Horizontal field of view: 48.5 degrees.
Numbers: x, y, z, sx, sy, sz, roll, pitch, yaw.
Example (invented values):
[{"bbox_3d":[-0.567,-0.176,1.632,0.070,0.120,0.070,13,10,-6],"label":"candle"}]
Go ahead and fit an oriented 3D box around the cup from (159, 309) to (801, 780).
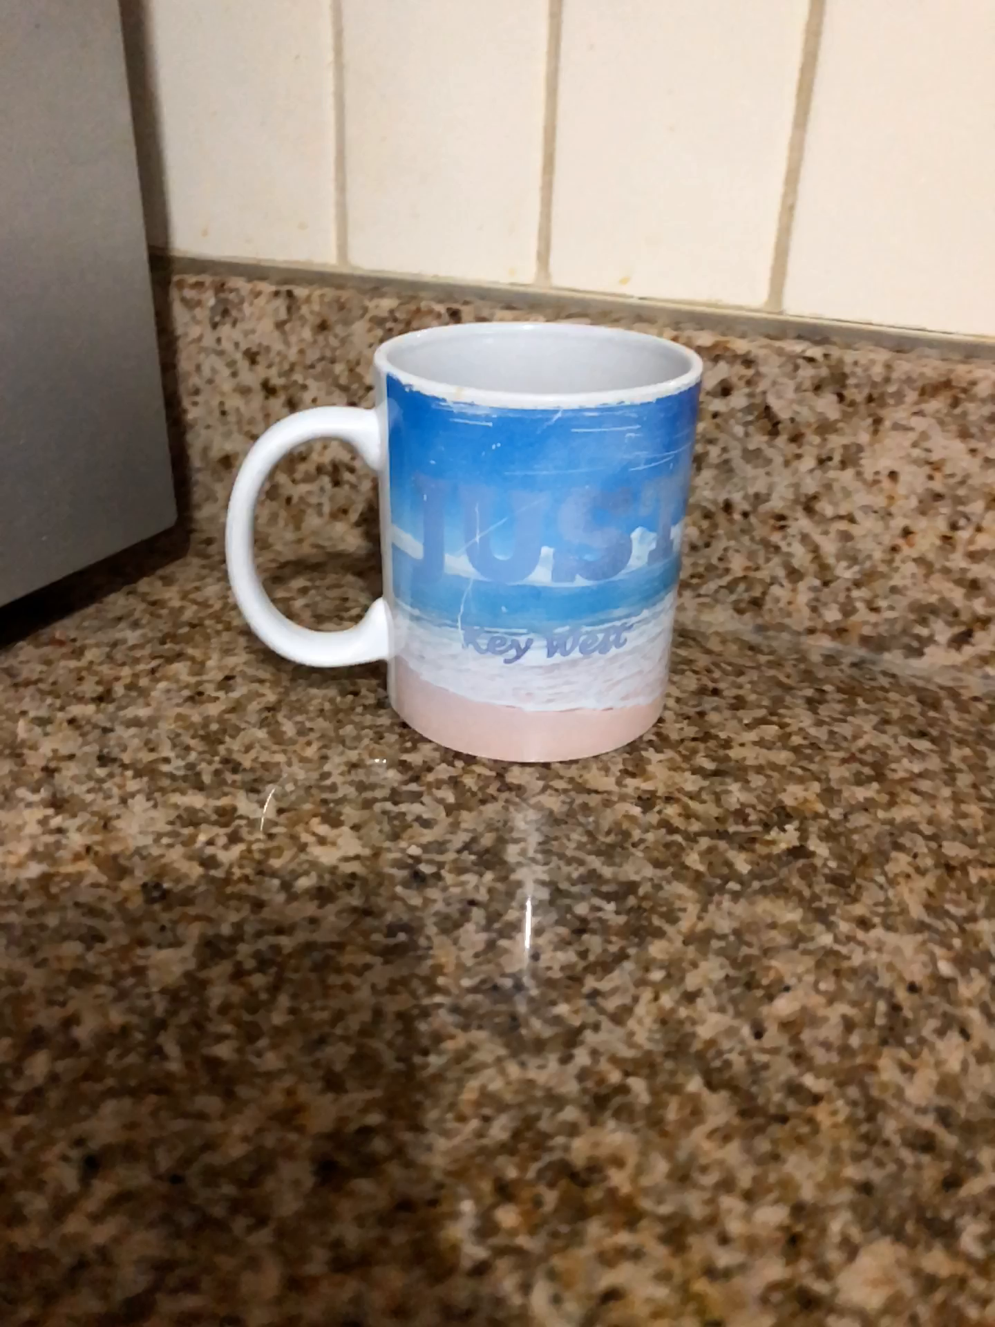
[{"bbox_3d":[-0.008,-0.036,0.282,0.130,0.090,0.090,-2,26,-8],"label":"cup"}]
